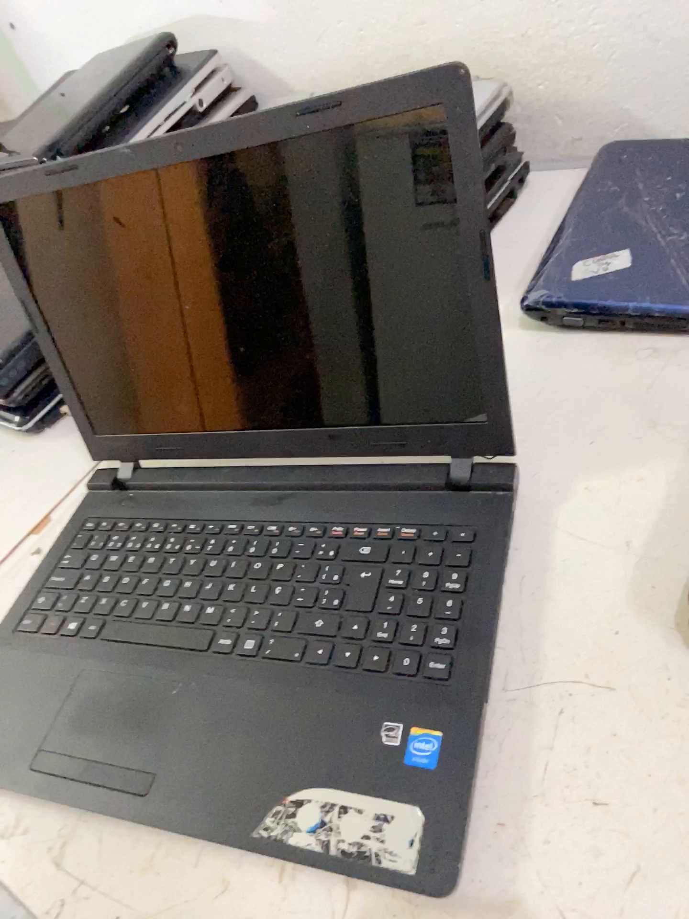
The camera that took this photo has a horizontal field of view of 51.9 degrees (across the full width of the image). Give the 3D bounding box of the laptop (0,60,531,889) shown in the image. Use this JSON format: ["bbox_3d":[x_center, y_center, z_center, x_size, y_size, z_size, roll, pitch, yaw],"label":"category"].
[{"bbox_3d":[-0.115,-0.003,0.427,0.375,0.230,0.339,-1,48,25],"label":"laptop"}]
